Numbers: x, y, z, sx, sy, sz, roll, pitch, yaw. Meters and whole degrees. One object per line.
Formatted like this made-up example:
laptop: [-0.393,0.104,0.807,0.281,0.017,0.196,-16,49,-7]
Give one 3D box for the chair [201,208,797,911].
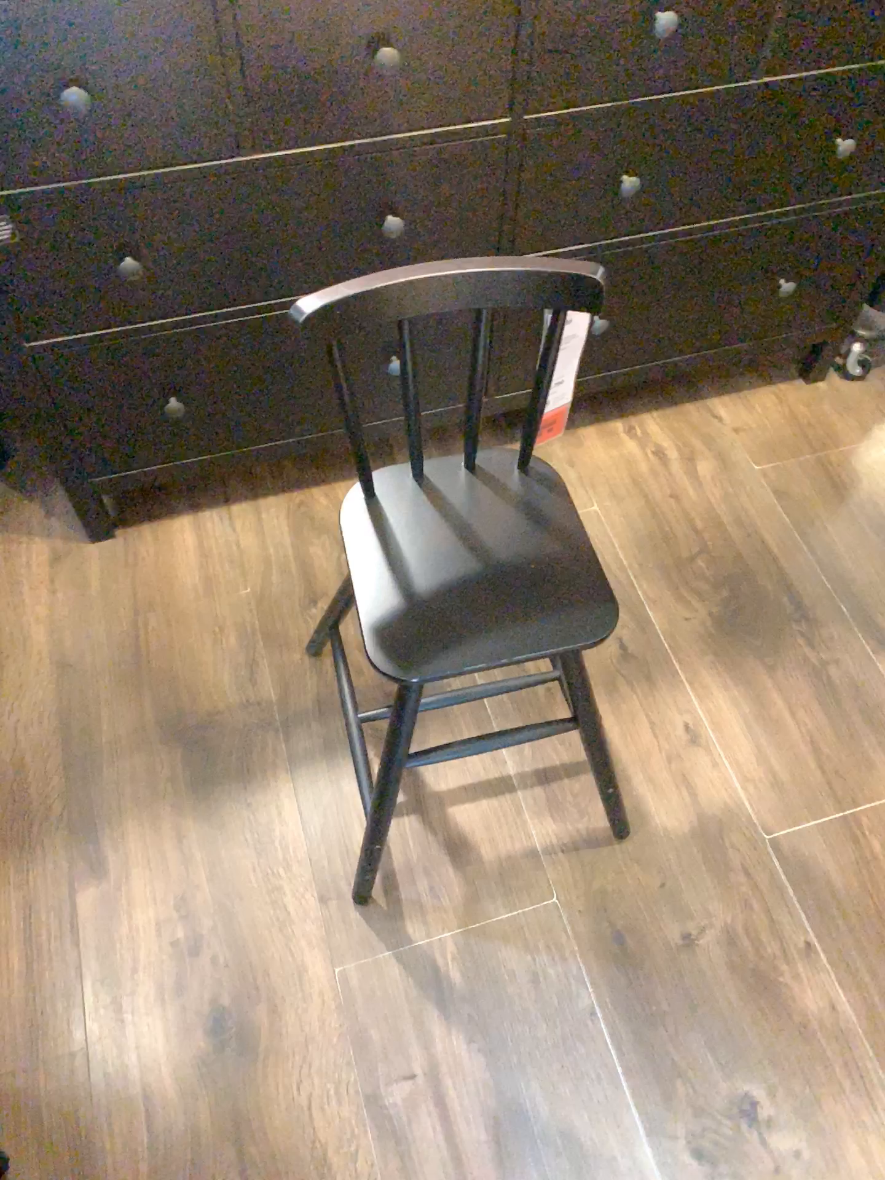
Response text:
chair: [0.015,0.037,1.210,0.450,0.848,0.471,-12,58,-9]
